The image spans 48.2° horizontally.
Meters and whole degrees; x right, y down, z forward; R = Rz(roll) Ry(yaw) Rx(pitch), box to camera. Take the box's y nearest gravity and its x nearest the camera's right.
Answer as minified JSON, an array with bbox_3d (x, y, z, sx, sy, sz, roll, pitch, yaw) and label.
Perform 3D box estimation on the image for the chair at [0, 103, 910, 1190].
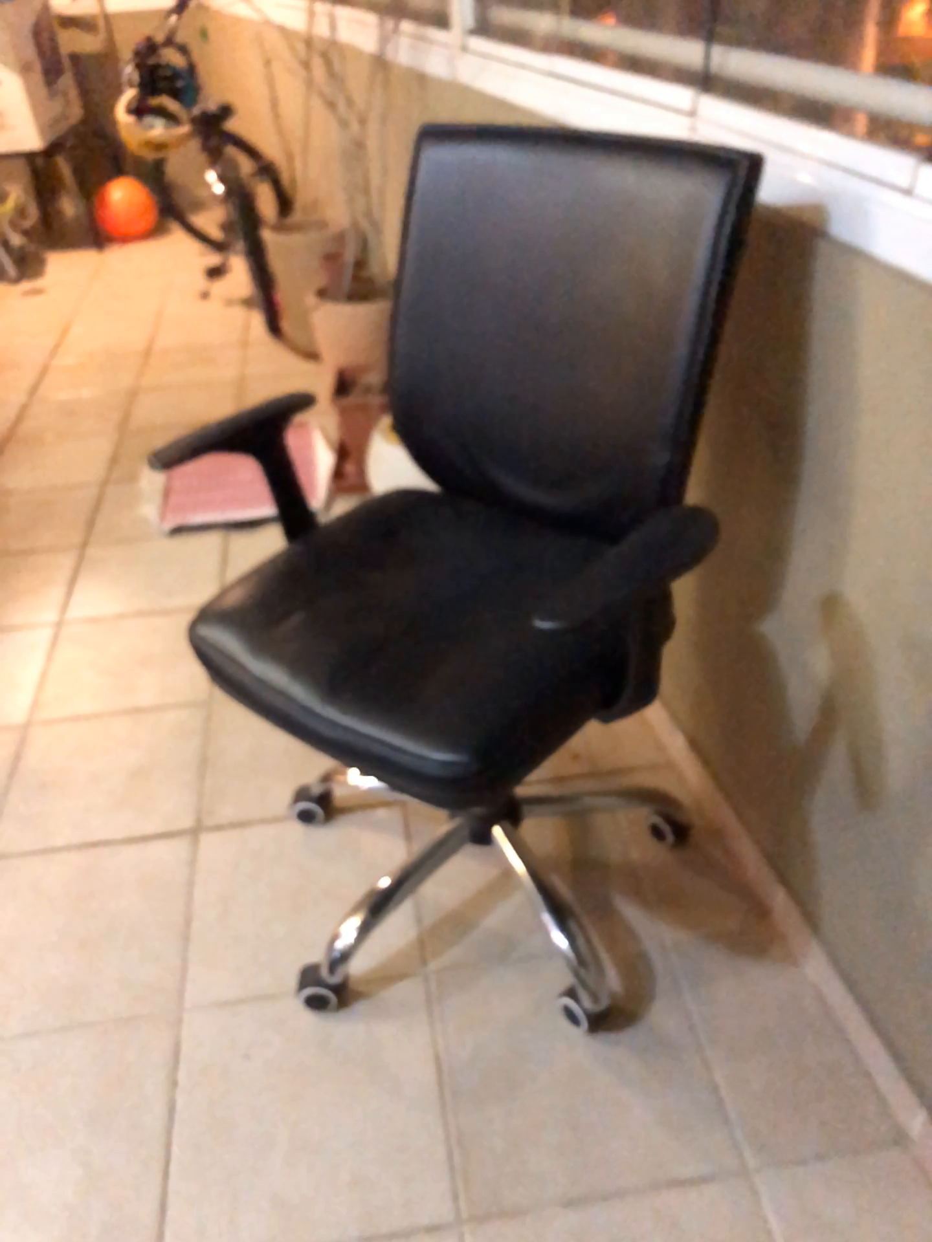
[{"bbox_3d":[-0.011,-0.040,1.247,0.662,0.933,0.663,23,42,34],"label":"chair"}]
